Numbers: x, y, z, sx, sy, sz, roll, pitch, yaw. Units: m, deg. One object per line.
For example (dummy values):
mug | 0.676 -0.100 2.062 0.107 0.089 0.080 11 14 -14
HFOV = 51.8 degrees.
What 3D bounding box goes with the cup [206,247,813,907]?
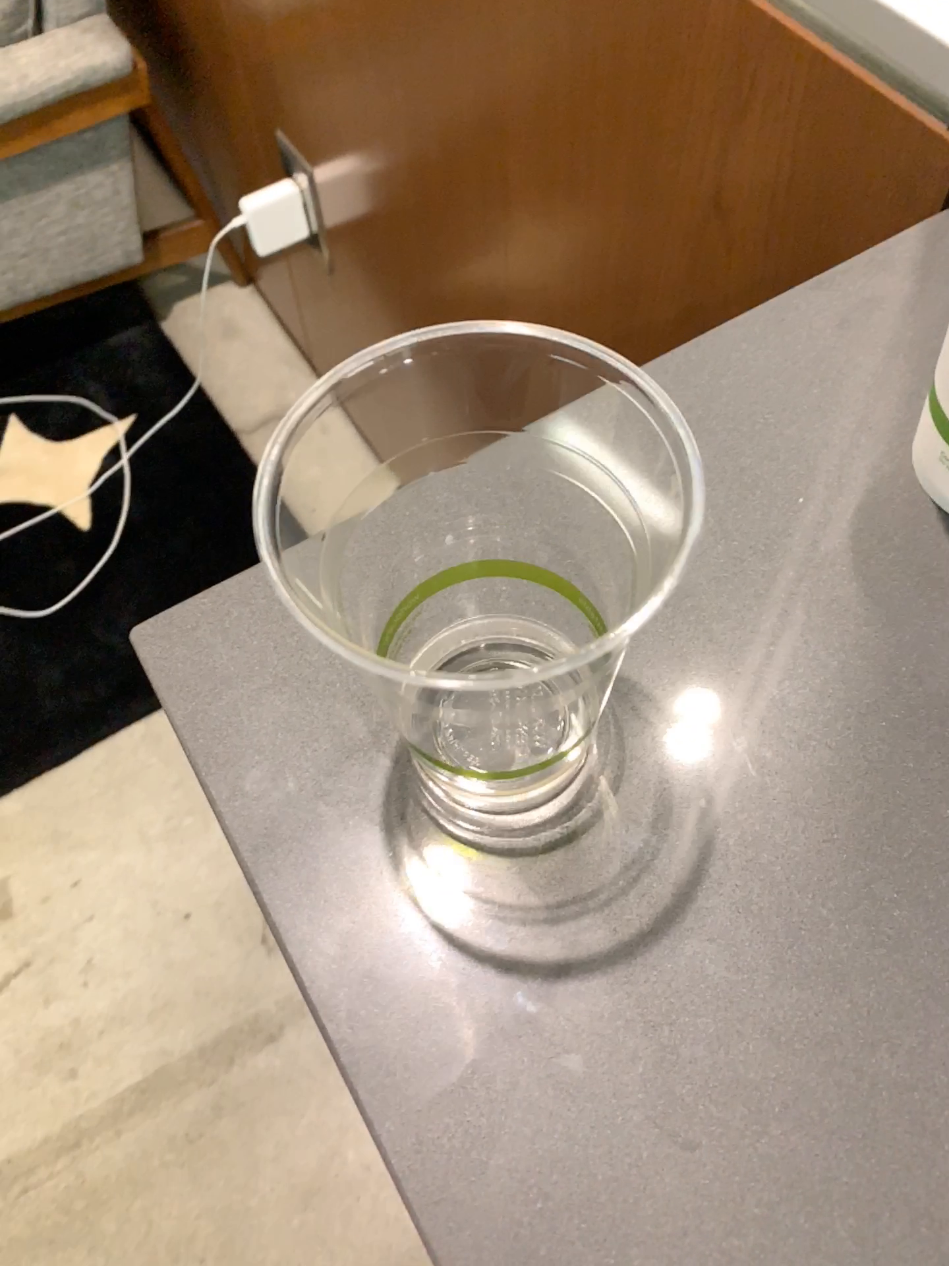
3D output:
cup | 0.006 -0.007 0.249 0.090 0.120 0.090 -1 61 2
